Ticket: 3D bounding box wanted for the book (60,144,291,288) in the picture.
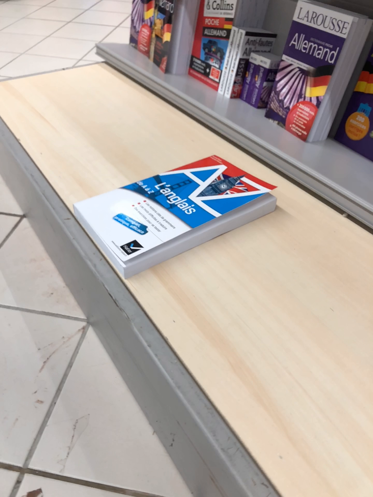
[{"bbox_3d":[-0.011,-0.054,0.499,0.235,0.030,0.143,-24,48,-26],"label":"book"}]
